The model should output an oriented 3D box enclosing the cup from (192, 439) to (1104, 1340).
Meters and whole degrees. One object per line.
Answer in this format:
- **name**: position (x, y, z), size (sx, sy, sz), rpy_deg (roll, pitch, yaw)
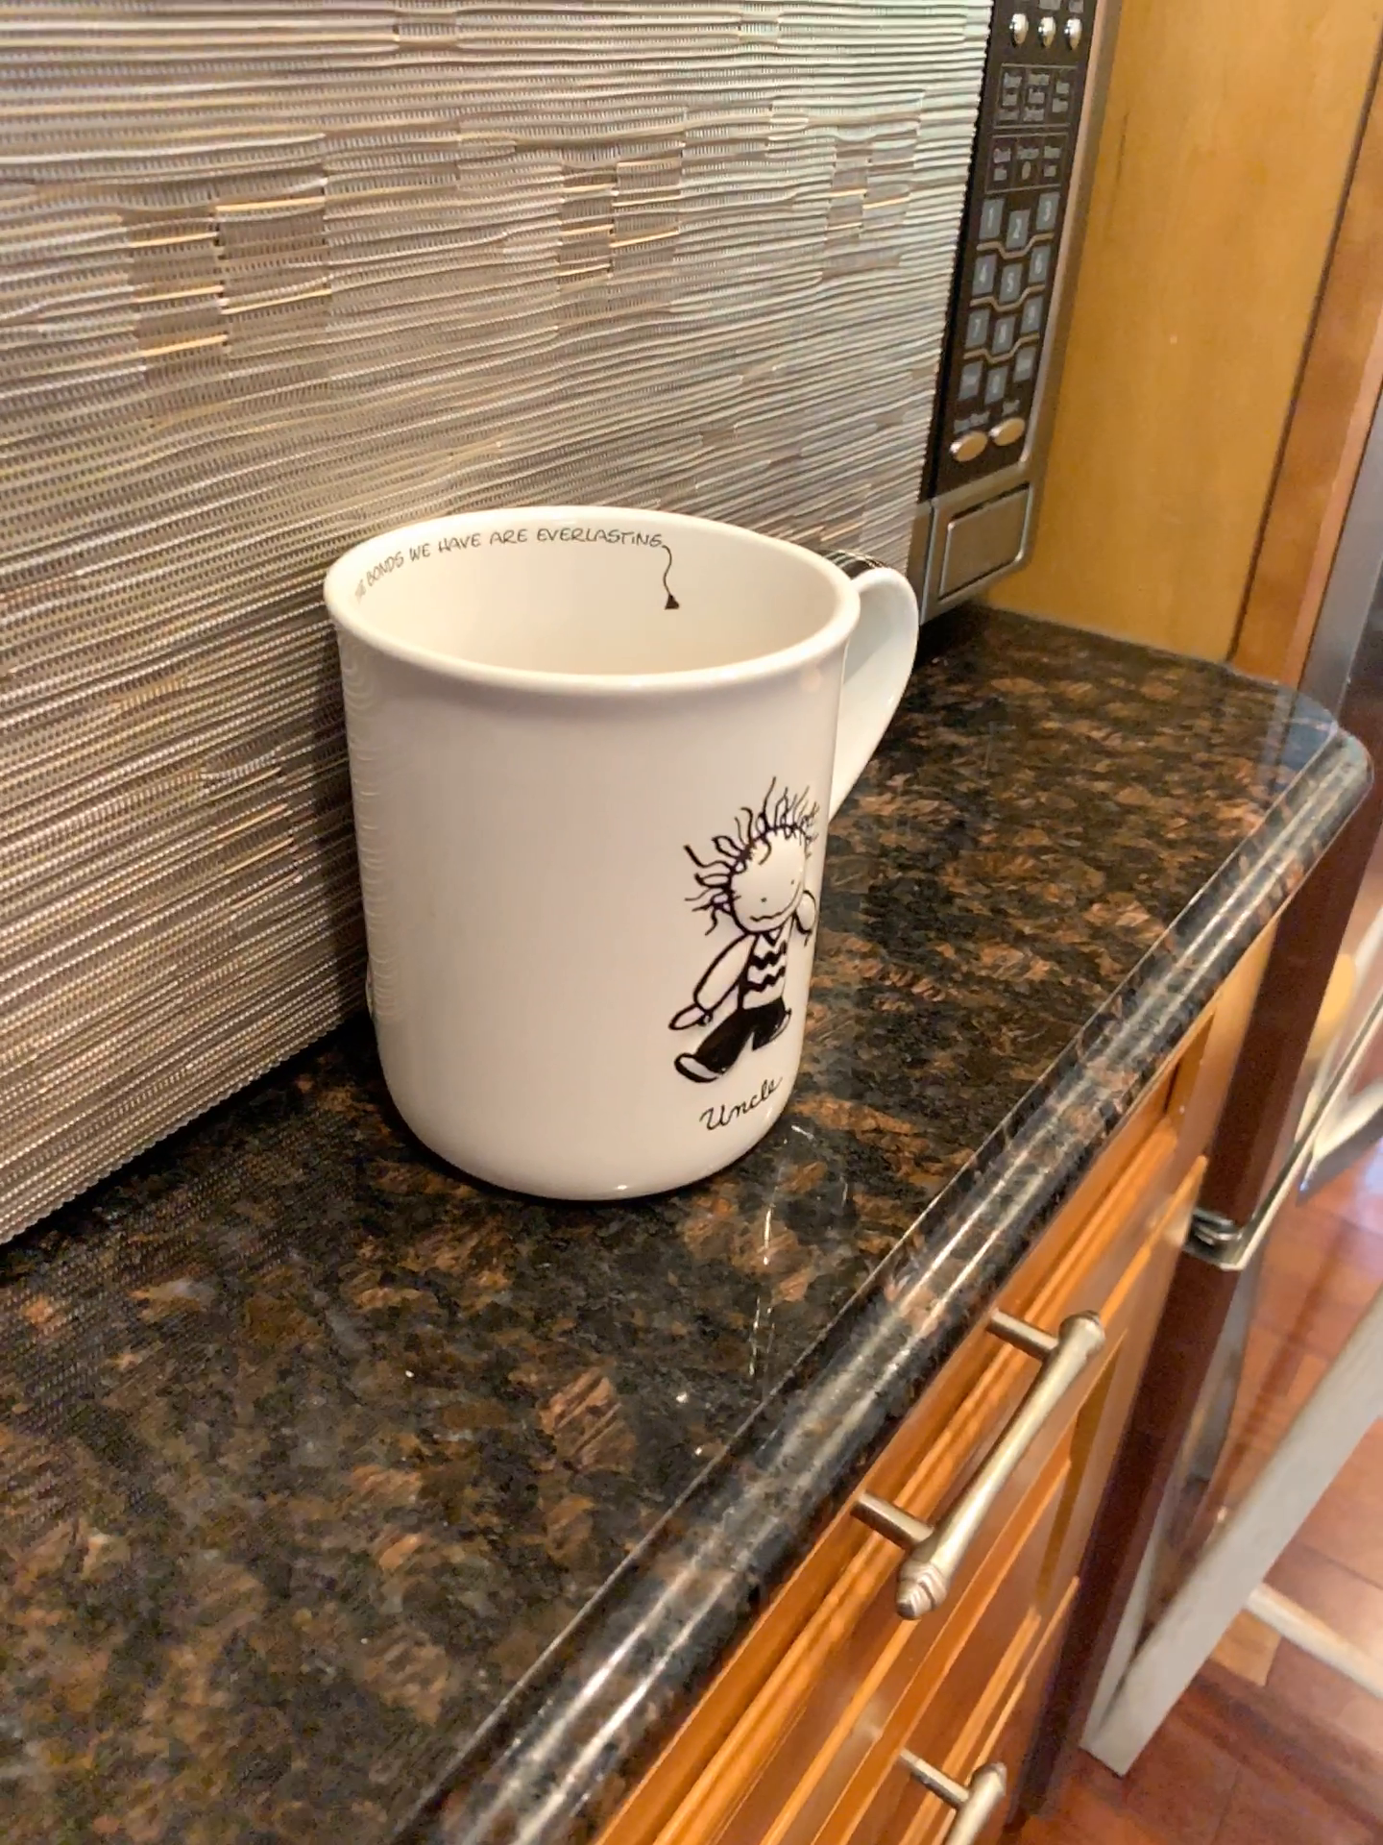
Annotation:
- **cup**: position (-0.005, -0.020, 0.282), size (0.100, 0.109, 0.130), rpy_deg (26, 39, 33)
